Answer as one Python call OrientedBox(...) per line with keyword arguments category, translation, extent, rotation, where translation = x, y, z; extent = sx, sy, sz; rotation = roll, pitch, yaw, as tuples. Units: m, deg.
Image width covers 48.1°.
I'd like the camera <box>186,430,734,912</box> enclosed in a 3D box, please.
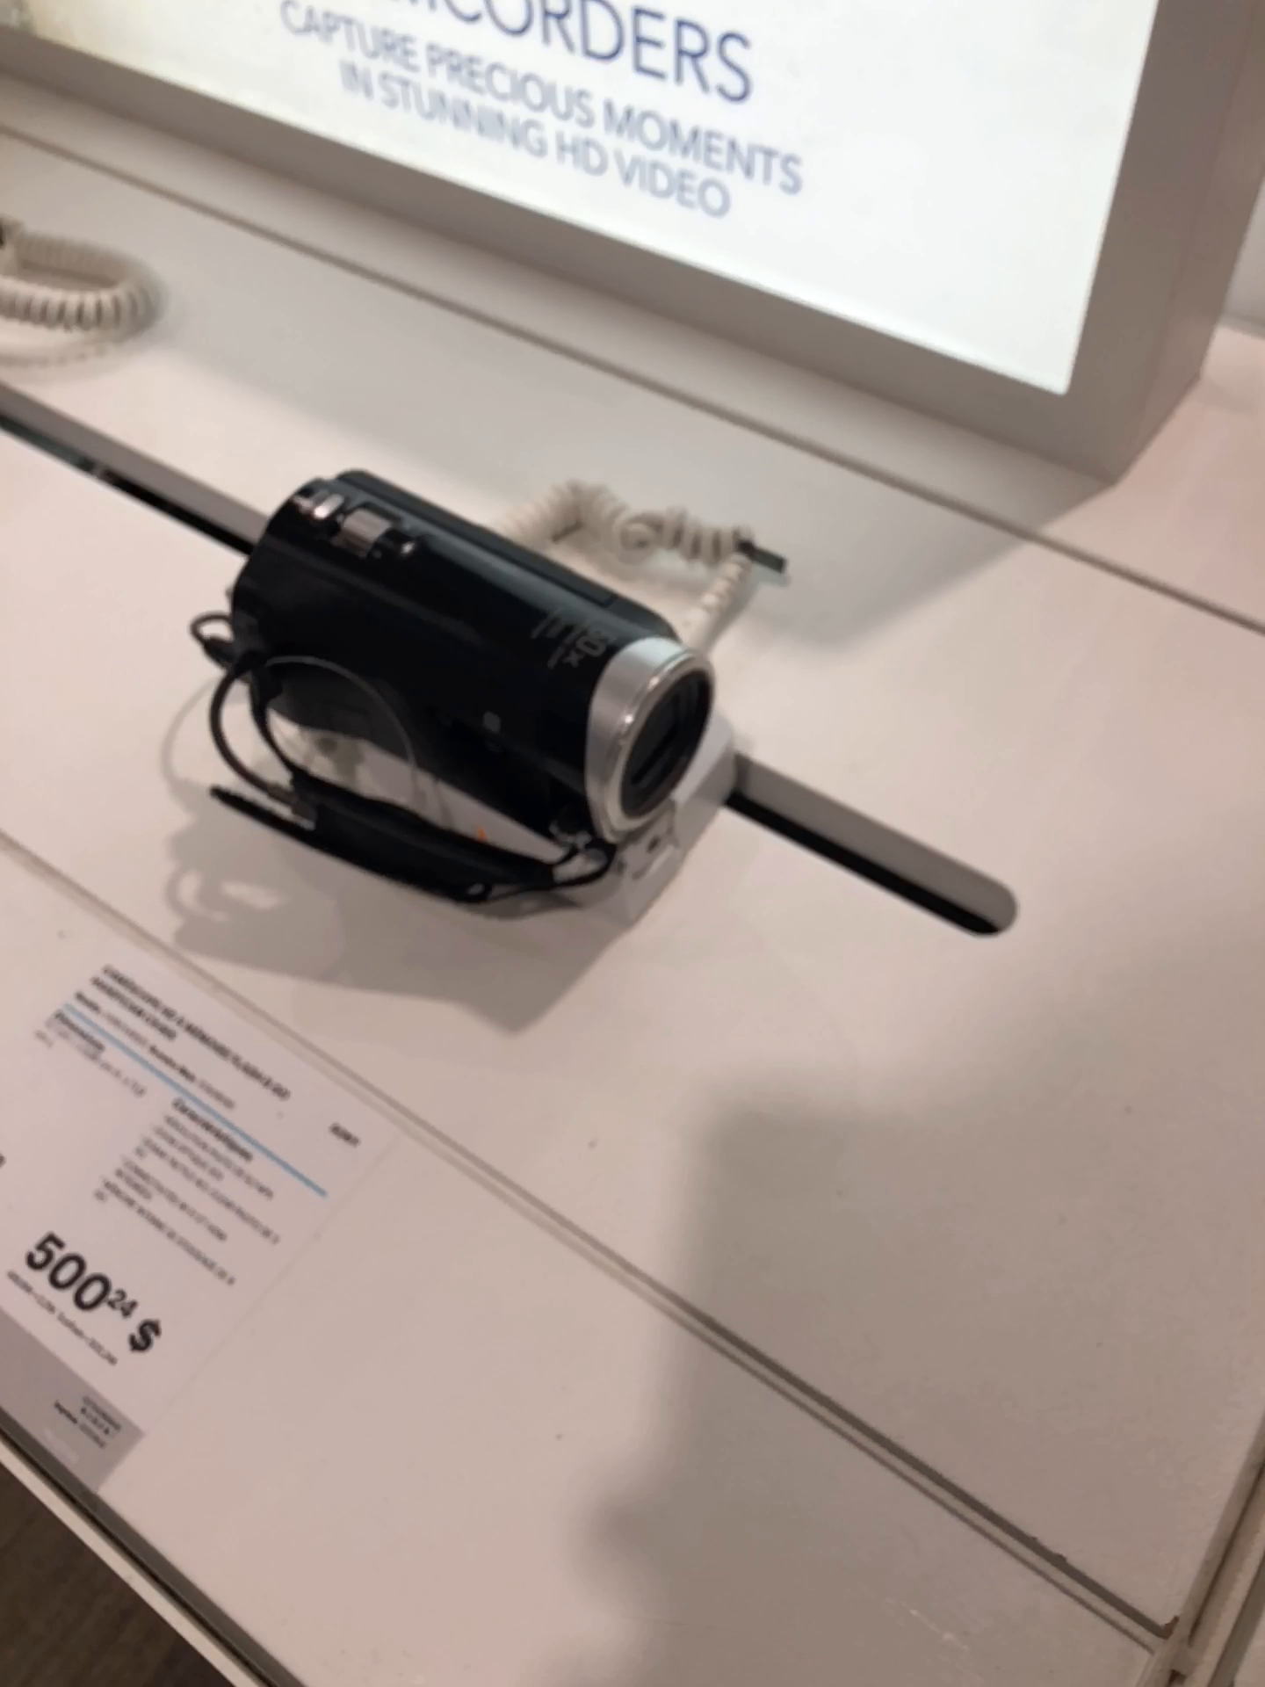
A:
OrientedBox(category="camera", translation=(-0.041, -0.046, 0.358), extent=(0.121, 0.058, 0.057), rotation=(27, 59, 22))
